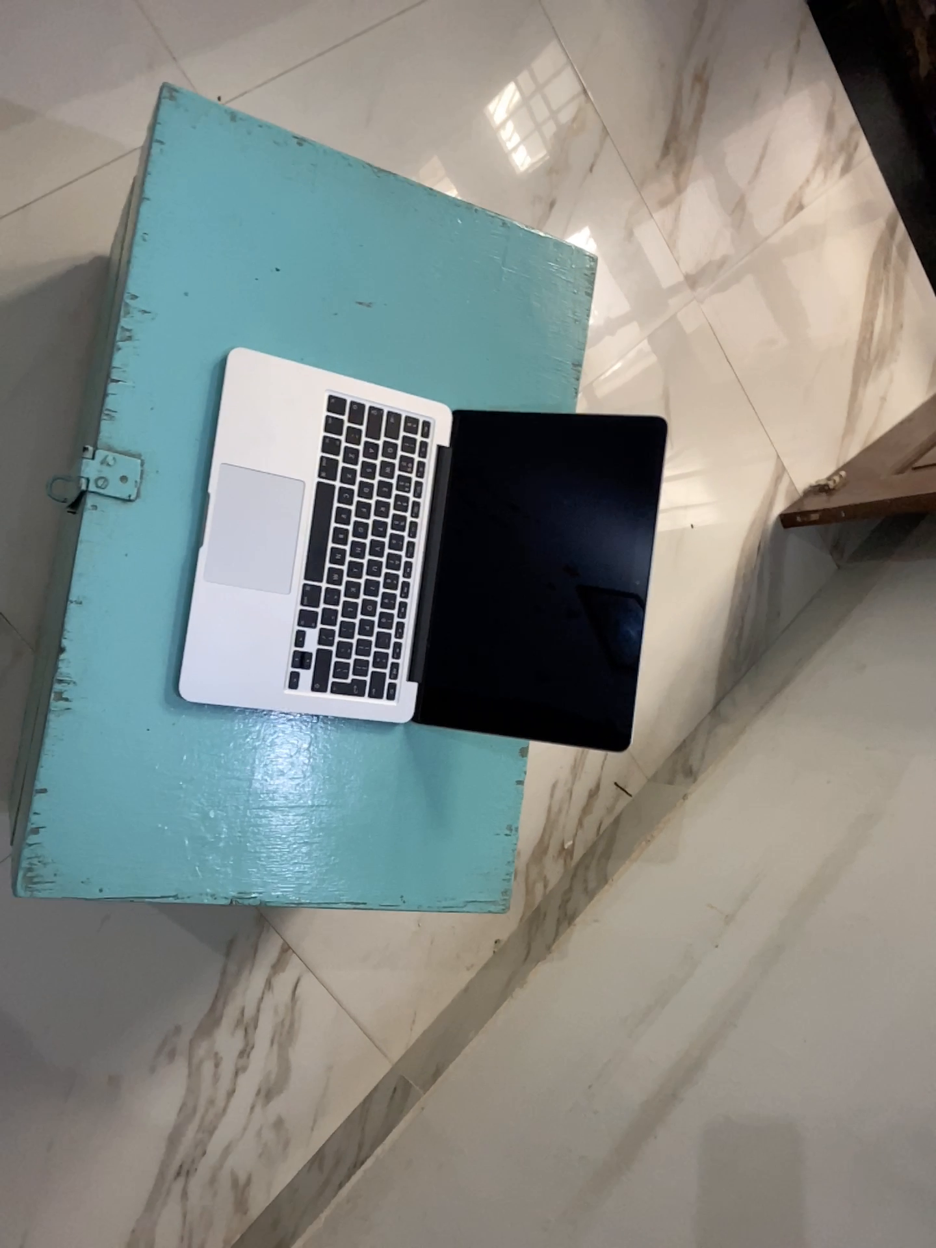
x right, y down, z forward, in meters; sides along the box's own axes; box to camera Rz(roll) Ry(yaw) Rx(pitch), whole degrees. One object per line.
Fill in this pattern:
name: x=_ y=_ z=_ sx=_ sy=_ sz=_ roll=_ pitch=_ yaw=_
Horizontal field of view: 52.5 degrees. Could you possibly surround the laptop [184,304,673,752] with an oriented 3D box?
laptop: x=-0.027 y=-0.062 z=0.860 sx=0.378 sy=0.148 sz=0.313 roll=9 pitch=85 yaw=-27
